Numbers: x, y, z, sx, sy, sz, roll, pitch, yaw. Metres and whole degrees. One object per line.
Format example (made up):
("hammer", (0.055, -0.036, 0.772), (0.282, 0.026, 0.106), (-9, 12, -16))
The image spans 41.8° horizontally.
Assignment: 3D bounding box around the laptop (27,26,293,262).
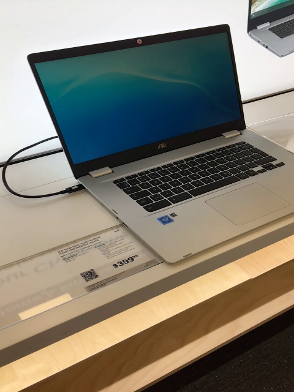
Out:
("laptop", (0.085, -0.113, 0.629), (0.367, 0.197, 0.333), (-23, 49, -26))
